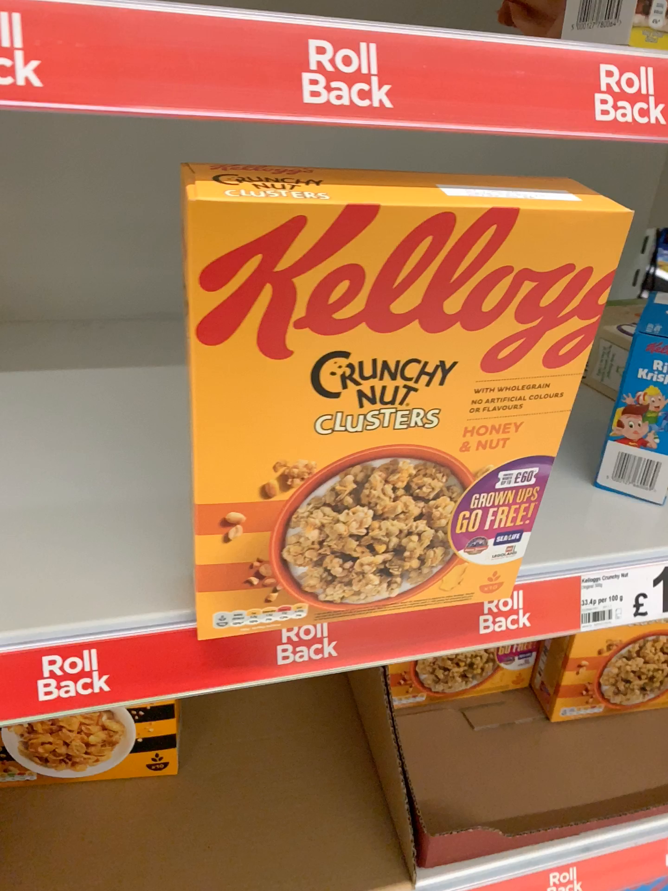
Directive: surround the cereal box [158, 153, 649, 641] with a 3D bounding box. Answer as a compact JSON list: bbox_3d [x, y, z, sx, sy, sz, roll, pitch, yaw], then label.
[{"bbox_3d":[0.020,-0.016,0.351,0.200,0.228,0.061,-4,34,-16],"label":"cereal box"}]
